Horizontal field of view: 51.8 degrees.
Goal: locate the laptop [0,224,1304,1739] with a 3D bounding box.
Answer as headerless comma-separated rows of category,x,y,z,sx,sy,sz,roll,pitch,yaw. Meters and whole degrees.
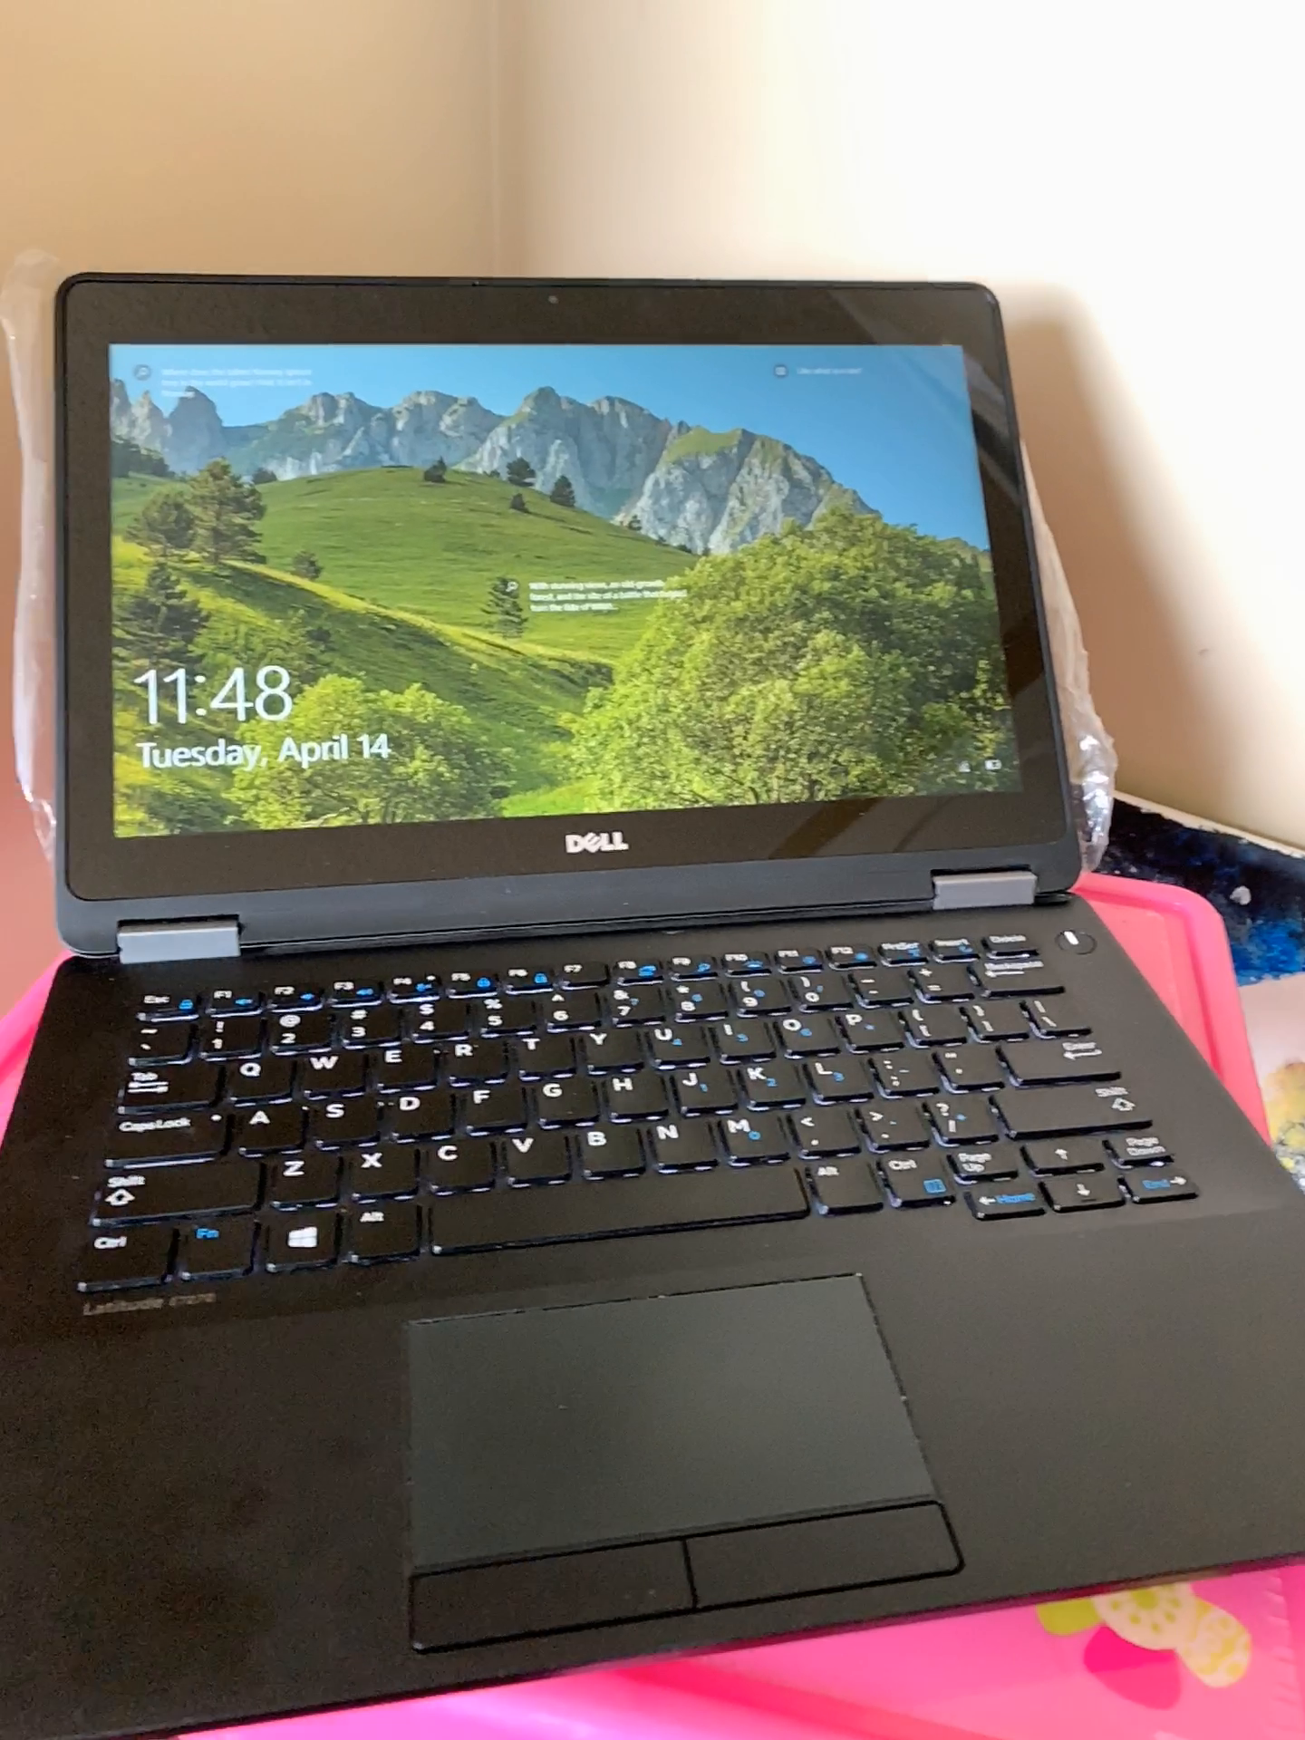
laptop,-0.009,-0.030,0.290,0.261,0.121,0.303,-3,39,-10
